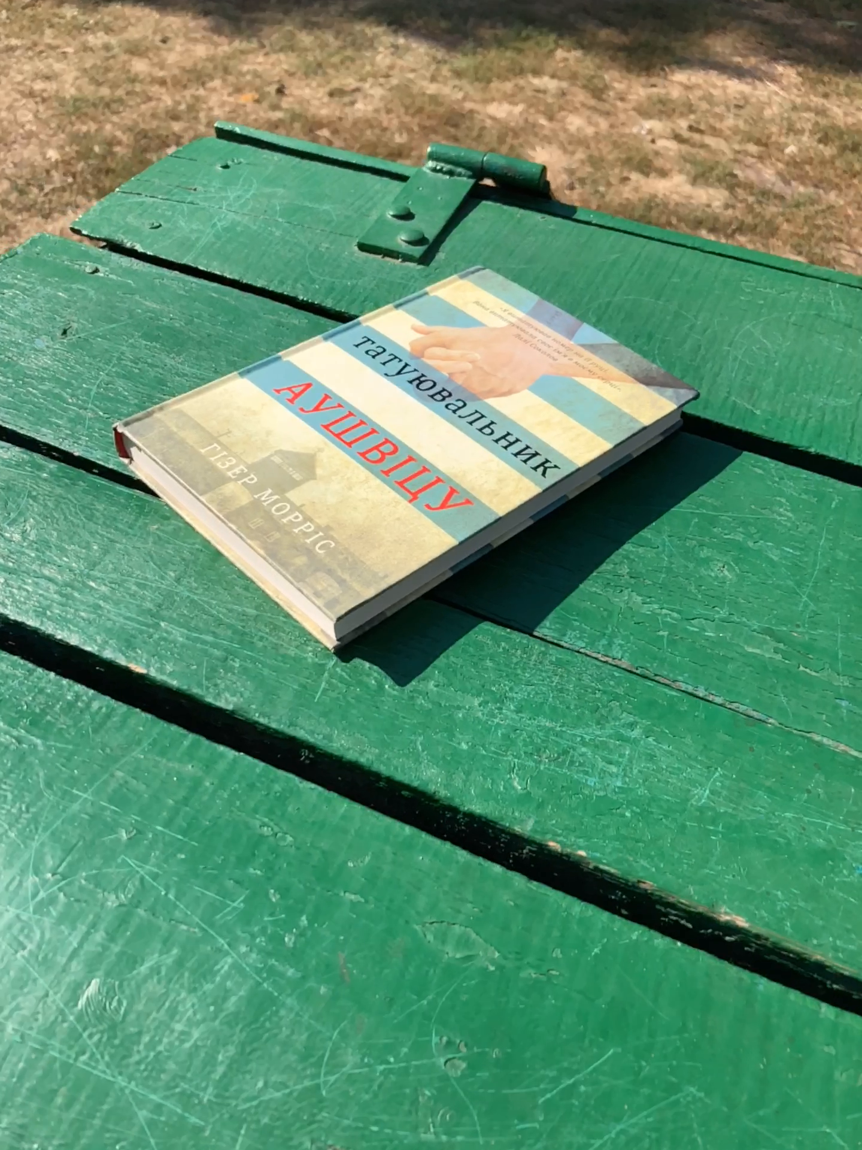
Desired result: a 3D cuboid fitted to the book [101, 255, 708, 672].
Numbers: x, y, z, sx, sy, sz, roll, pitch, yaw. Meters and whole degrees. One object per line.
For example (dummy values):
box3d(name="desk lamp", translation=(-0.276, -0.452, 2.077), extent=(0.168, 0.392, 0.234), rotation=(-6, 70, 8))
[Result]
box3d(name="book", translation=(-0.006, -0.065, 0.409), extent=(0.213, 0.020, 0.148), rotation=(-33, 58, -30))
